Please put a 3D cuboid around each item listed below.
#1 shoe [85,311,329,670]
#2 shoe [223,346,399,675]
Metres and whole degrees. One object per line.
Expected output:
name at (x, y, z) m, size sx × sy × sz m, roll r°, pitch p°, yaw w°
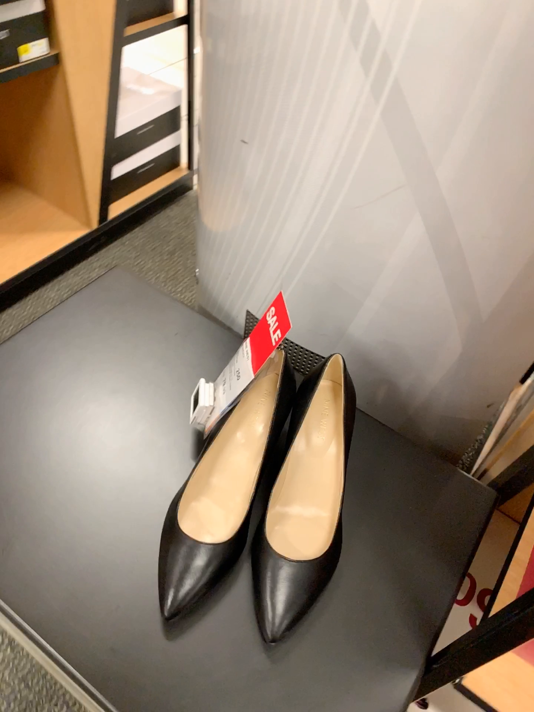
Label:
shoe at (-0.042, 0.121, 0.512) m, size 0.100 × 0.189 × 0.251 m, roll 20°, pitch 50°, yaw 9°
shoe at (0.045, 0.153, 0.558) m, size 0.100 × 0.189 × 0.251 m, roll 15°, pitch 50°, yaw 5°
